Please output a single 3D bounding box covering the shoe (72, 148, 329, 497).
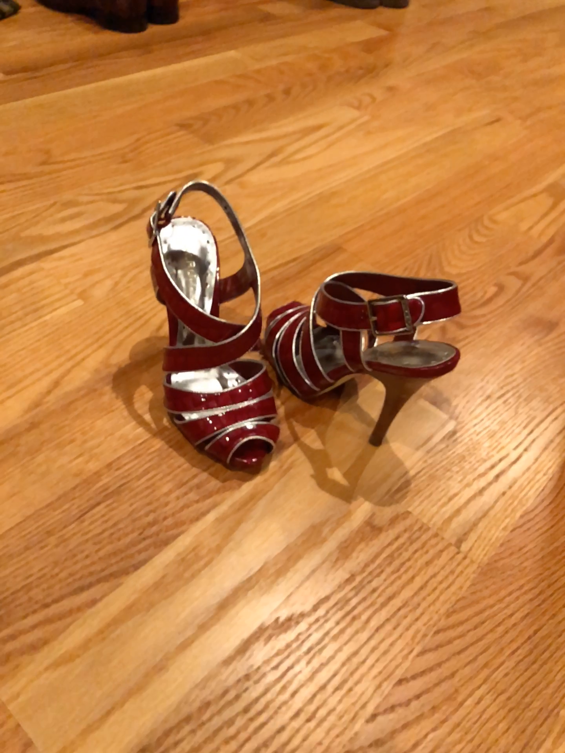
[{"bbox_3d":[-0.070,-0.047,0.464,0.092,0.151,0.199,-19,51,-25],"label":"shoe"}]

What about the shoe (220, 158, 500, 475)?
[{"bbox_3d":[0.042,-0.053,0.488,0.092,0.141,0.194,-22,52,-27],"label":"shoe"}]
